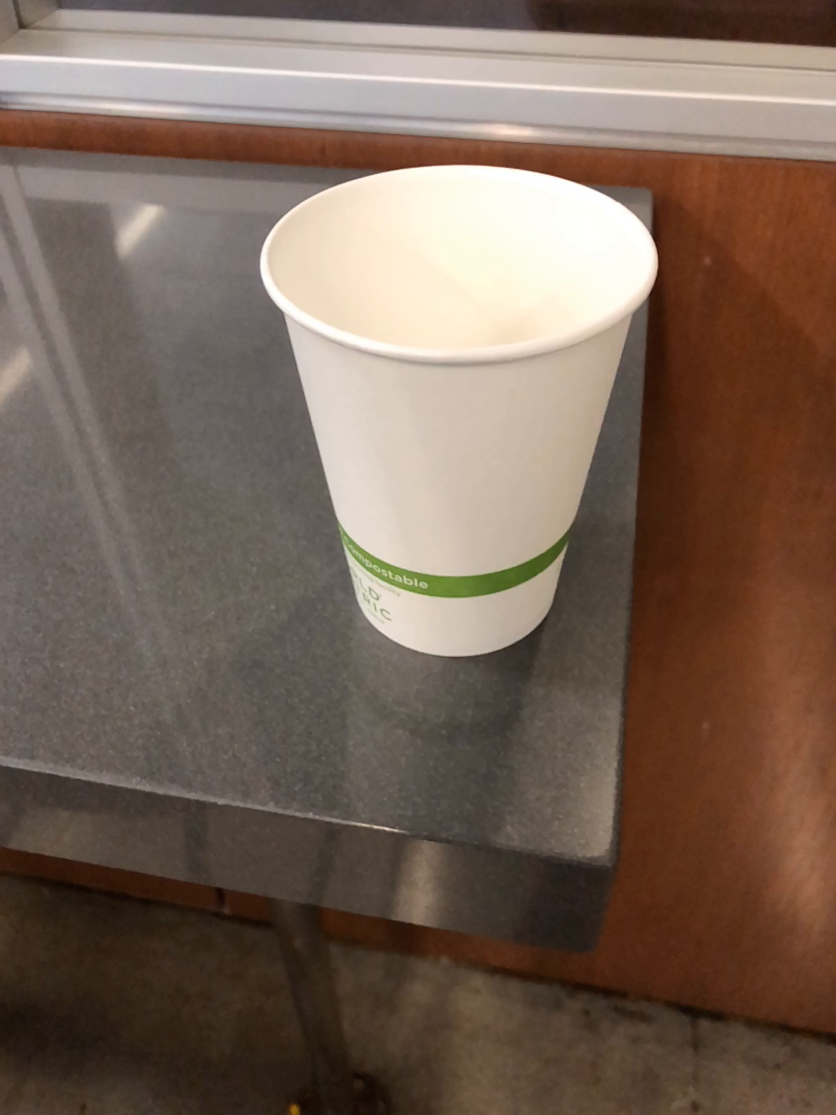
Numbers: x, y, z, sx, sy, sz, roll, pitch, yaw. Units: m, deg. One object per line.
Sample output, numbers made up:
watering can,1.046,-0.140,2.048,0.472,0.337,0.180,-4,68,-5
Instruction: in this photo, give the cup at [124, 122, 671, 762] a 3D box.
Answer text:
cup,-0.005,-0.031,0.246,0.090,0.119,0.080,-26,49,-24
